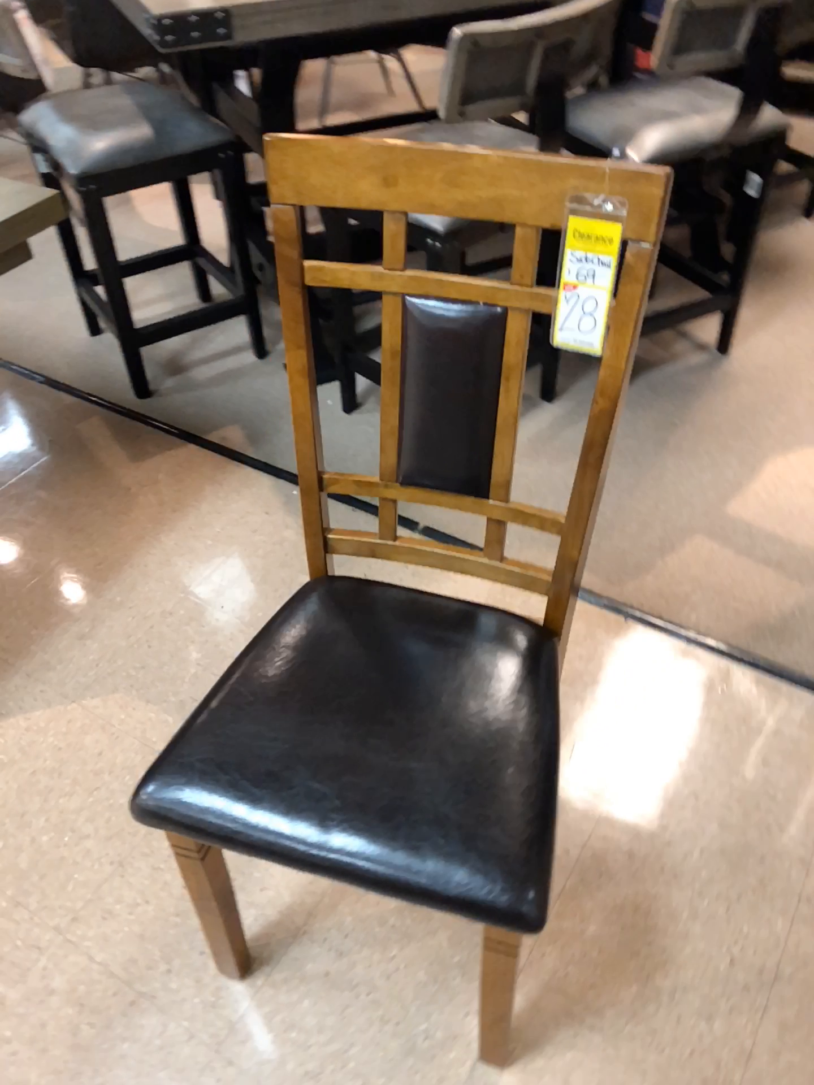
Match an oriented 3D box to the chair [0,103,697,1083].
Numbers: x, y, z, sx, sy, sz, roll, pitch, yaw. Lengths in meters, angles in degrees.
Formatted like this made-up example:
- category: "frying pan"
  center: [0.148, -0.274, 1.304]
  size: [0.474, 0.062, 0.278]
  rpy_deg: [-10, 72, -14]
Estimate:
- category: "chair"
  center: [-0.014, 0.122, 1.017]
  size: [0.450, 0.993, 0.503]
  rpy_deg: [11, 45, 14]
